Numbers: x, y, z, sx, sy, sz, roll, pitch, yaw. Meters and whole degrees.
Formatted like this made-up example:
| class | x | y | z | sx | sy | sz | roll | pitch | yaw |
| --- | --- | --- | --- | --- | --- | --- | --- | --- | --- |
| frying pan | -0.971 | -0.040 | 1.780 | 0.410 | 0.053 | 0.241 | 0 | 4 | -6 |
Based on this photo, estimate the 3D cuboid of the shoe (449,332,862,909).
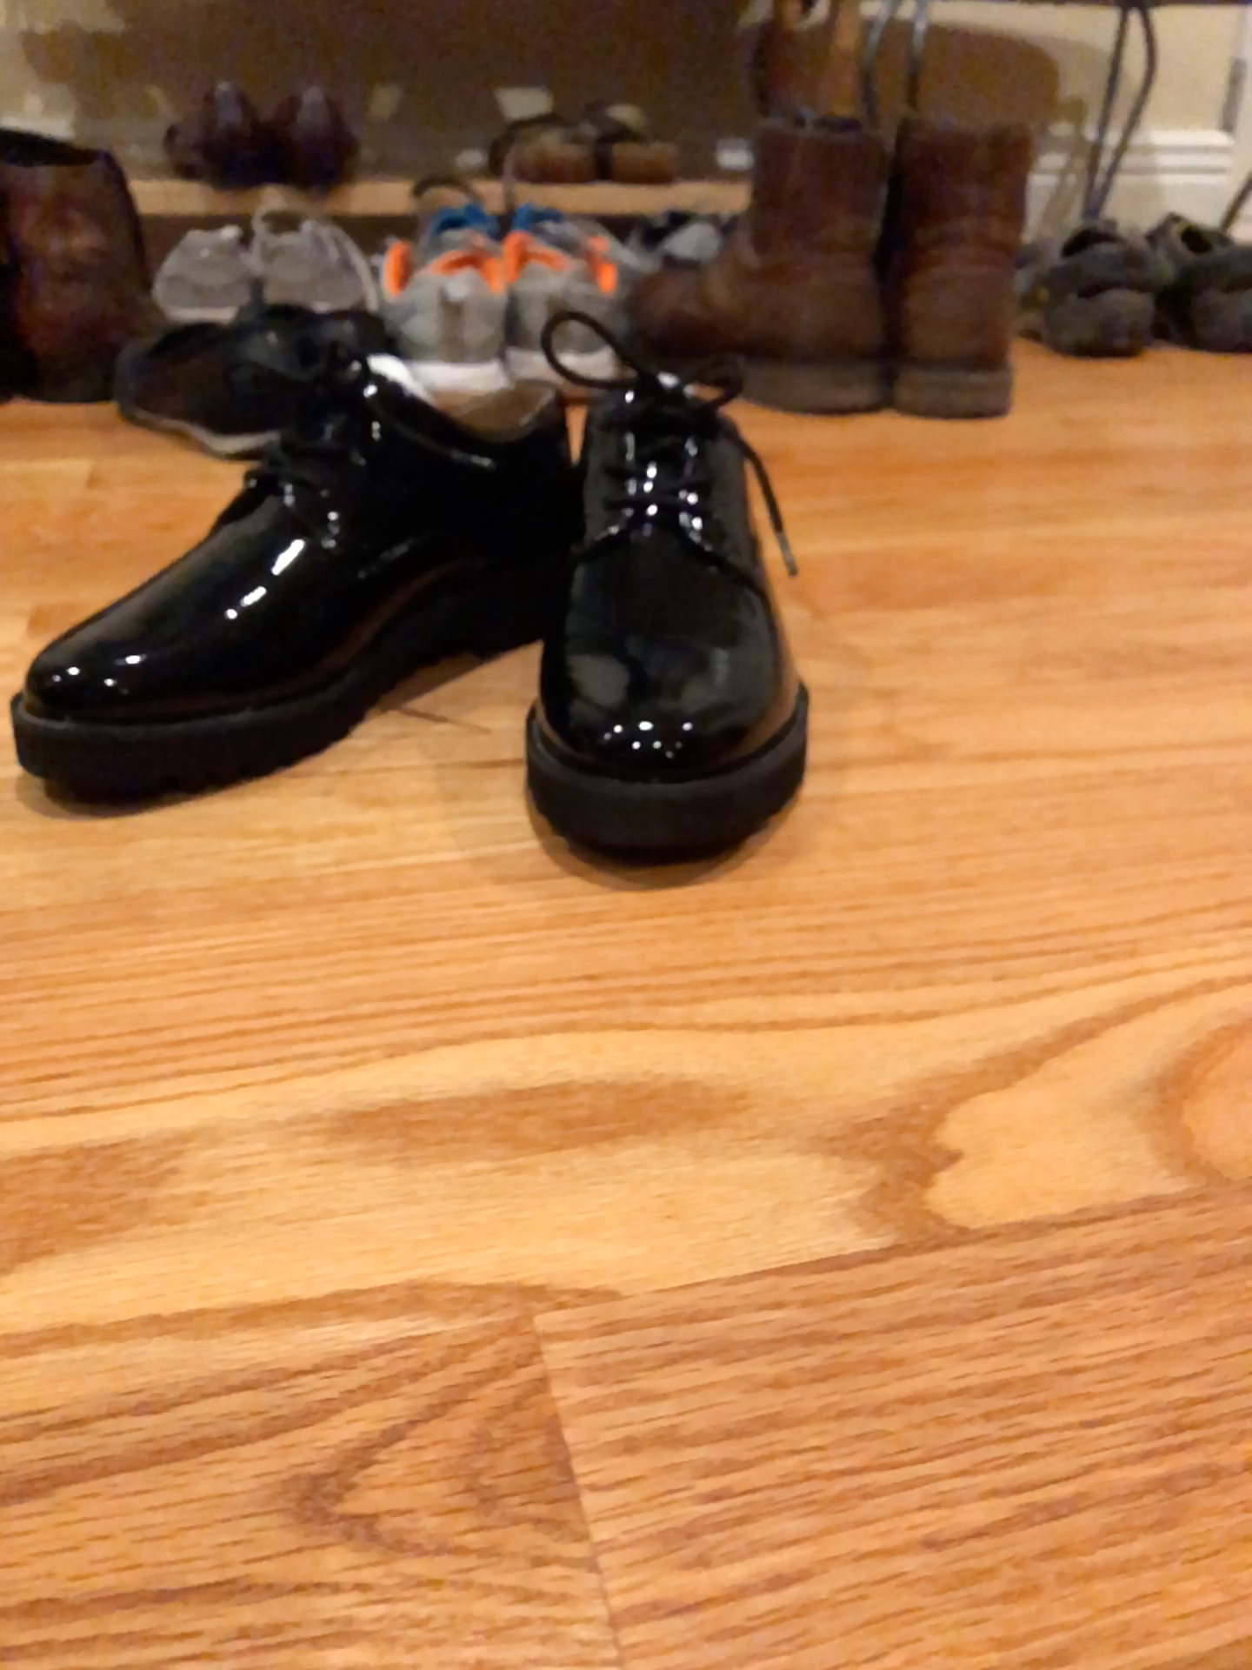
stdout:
| class | x | y | z | sx | sy | sz | roll | pitch | yaw |
| --- | --- | --- | --- | --- | --- | --- | --- | --- | --- |
| shoe | 0.019 | -0.088 | 0.454 | 0.095 | 0.101 | 0.252 | 4 | 29 | 5 |

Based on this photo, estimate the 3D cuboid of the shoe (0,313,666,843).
| class | x | y | z | sx | sy | sz | roll | pitch | yaw |
| --- | --- | --- | --- | --- | --- | --- | --- | --- | --- |
| shoe | -0.101 | -0.104 | 0.471 | 0.095 | 0.101 | 0.252 | 21 | 34 | 32 |
